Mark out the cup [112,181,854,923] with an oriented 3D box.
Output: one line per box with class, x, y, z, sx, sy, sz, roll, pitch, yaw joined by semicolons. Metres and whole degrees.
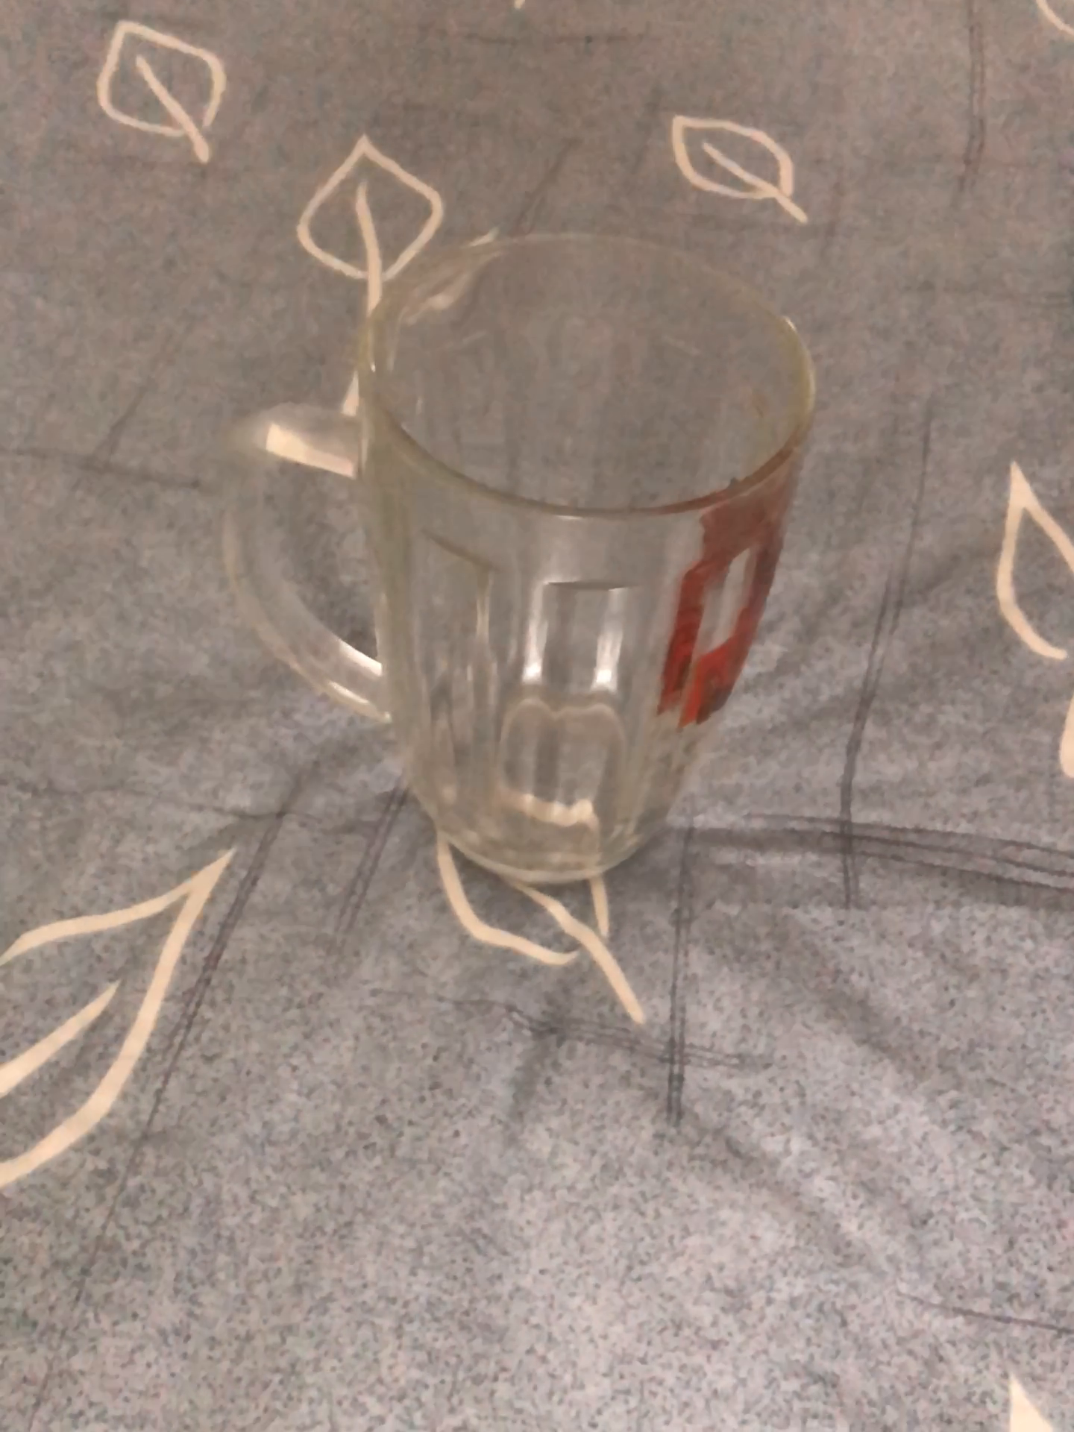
cup;-0.005;-0.035;0.297;0.127;0.136;0.091;12;56;10
